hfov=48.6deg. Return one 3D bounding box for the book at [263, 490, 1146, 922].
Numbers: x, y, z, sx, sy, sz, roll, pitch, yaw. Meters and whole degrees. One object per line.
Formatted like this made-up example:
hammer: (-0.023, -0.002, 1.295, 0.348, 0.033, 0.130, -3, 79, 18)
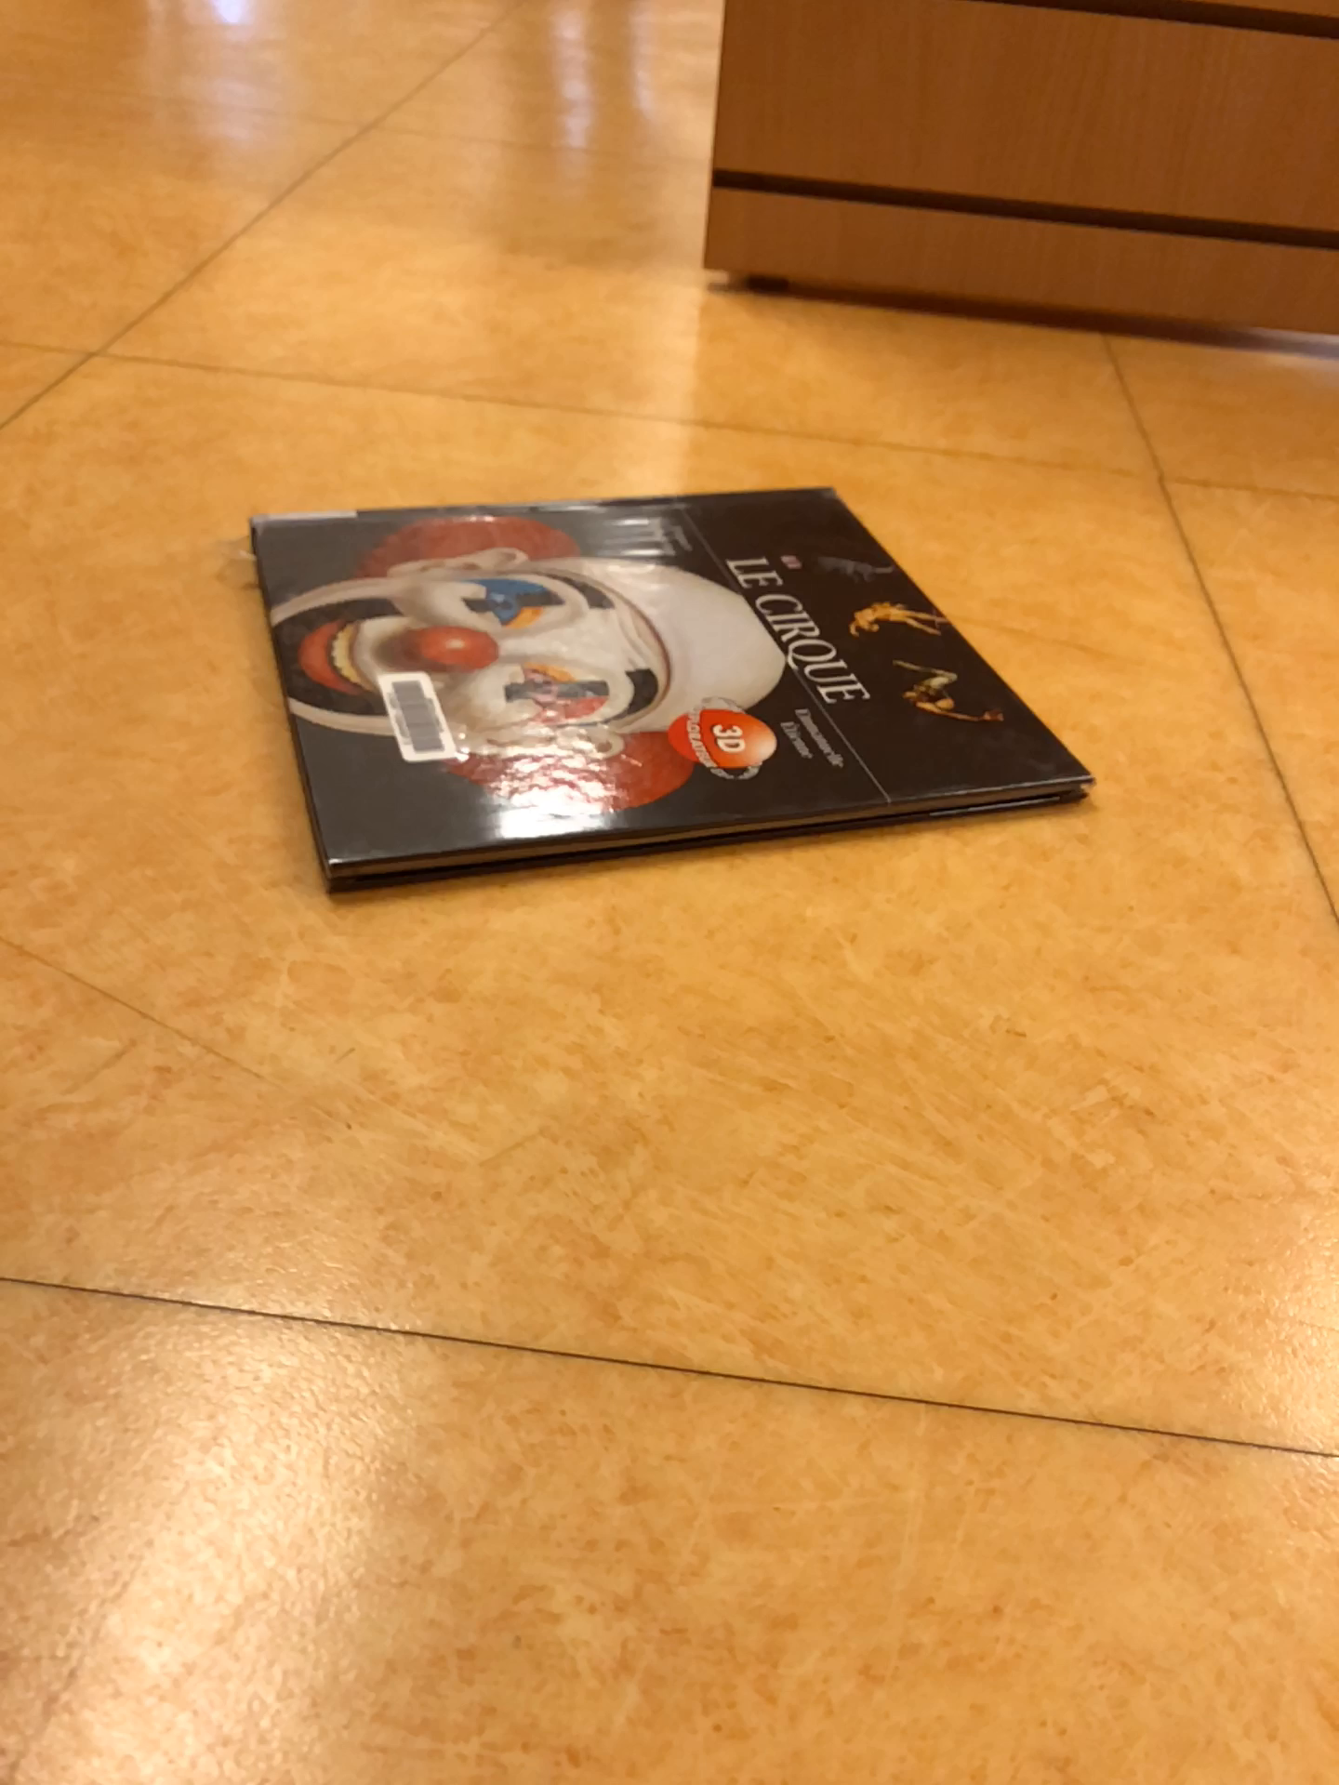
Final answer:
book: (-0.003, -0.077, 0.485, 0.233, 0.012, 0.215, -7, 40, -17)
